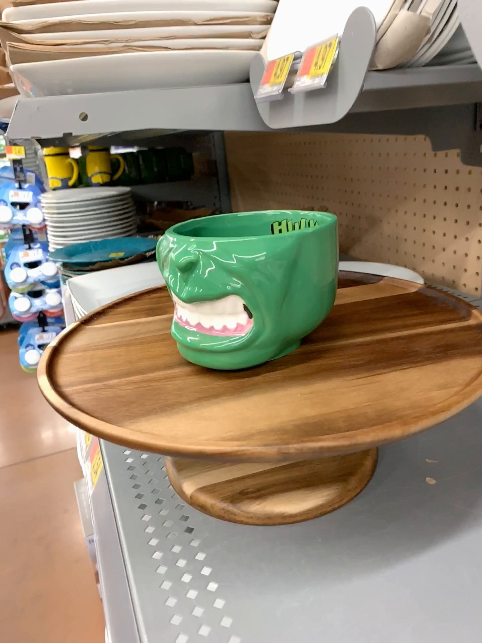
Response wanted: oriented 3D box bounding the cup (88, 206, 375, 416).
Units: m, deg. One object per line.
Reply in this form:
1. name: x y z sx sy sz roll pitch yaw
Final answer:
1. cup: -0.002 -0.023 0.345 0.140 0.090 0.130 -5 20 2
